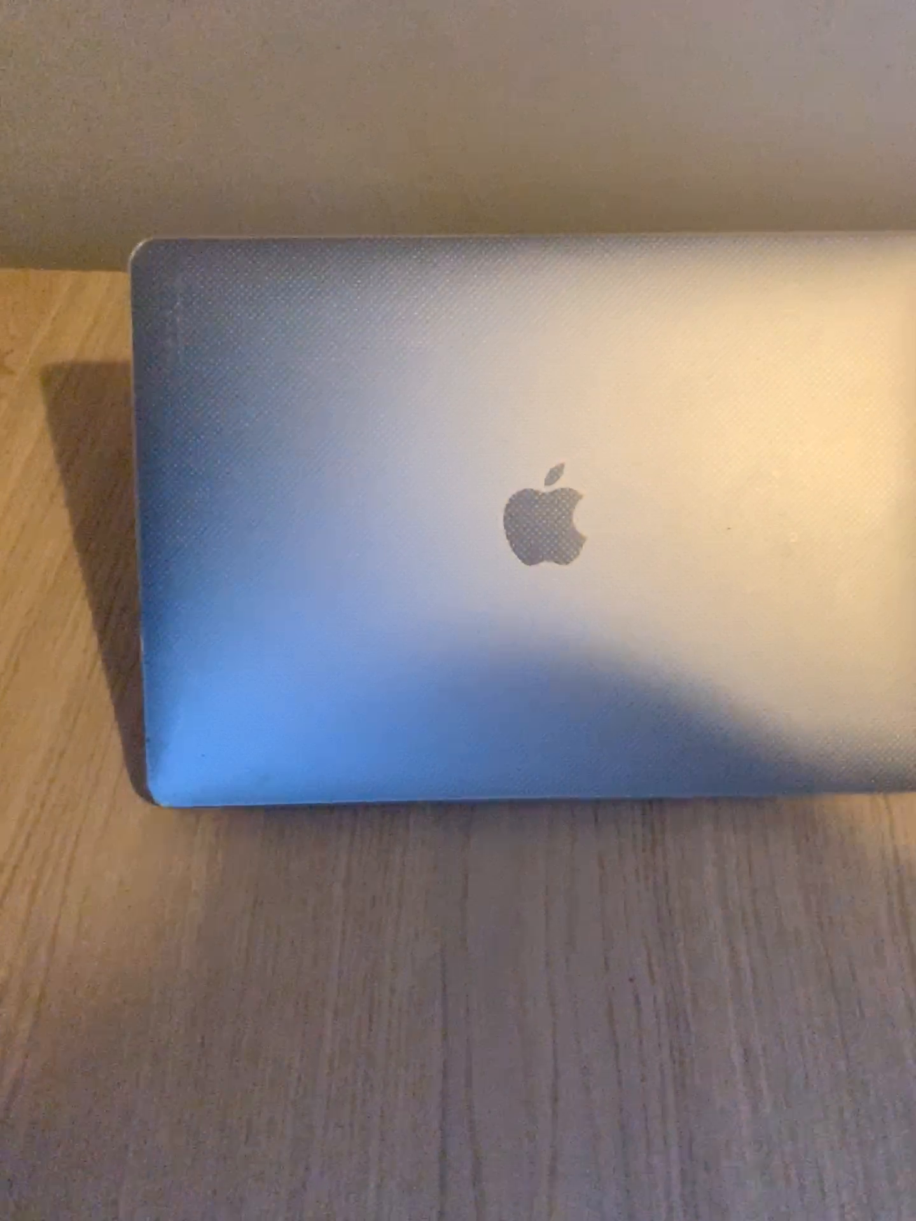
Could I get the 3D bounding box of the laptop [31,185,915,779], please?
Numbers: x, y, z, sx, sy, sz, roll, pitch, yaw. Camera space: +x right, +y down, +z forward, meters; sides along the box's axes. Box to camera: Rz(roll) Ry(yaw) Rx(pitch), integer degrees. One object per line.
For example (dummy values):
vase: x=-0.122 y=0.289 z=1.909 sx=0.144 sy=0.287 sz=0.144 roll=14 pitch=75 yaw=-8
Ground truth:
laptop: x=0.031 y=-0.057 z=0.381 sx=0.309 sy=0.127 sz=0.207 roll=-2 pitch=52 yaw=-1
